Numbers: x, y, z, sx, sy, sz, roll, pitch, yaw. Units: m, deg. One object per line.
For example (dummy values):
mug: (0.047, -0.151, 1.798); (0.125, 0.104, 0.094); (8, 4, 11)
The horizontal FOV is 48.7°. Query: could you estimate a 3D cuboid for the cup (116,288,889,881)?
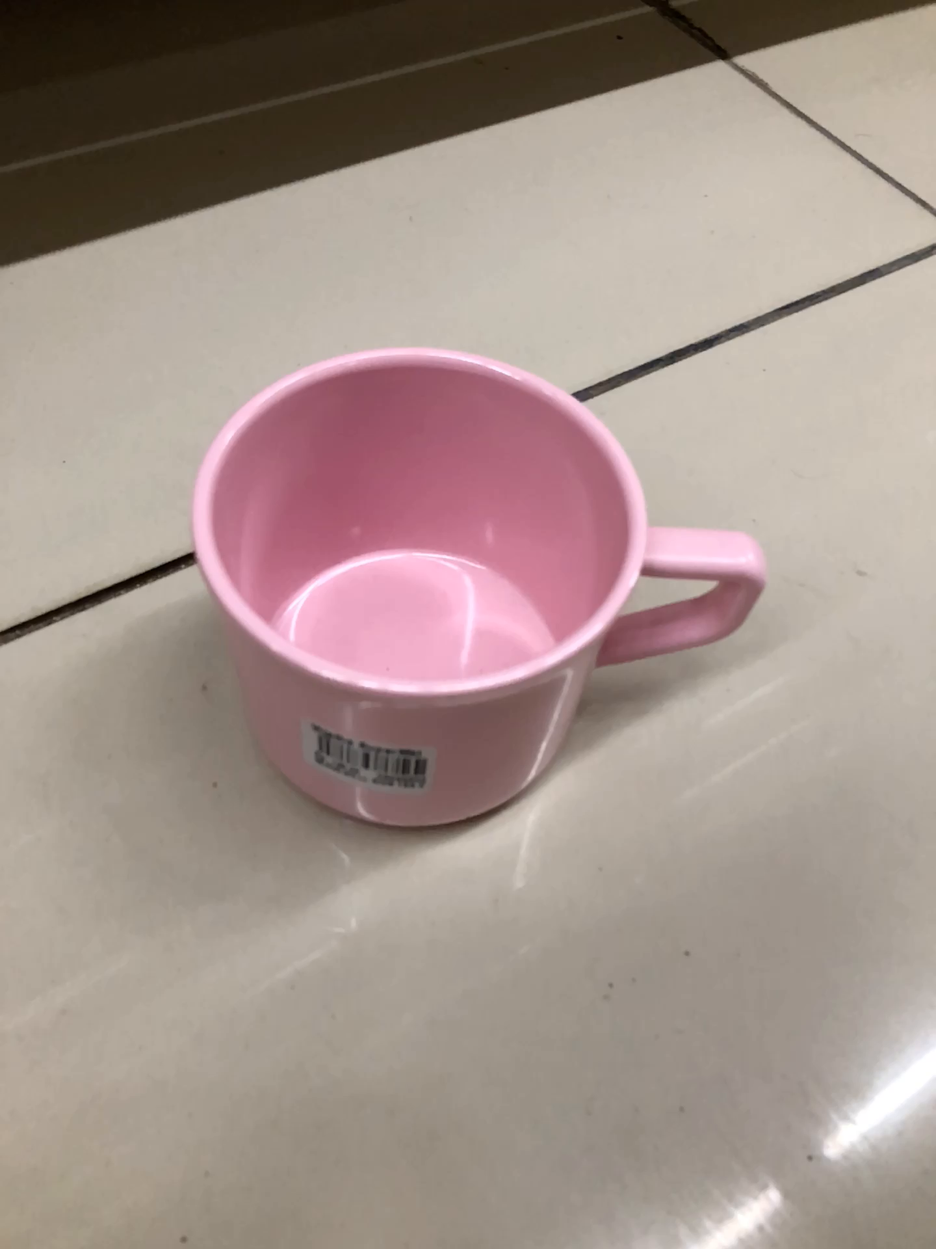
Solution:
cup: (0.003, -0.004, 0.202); (0.110, 0.080, 0.080); (2, 55, -4)
